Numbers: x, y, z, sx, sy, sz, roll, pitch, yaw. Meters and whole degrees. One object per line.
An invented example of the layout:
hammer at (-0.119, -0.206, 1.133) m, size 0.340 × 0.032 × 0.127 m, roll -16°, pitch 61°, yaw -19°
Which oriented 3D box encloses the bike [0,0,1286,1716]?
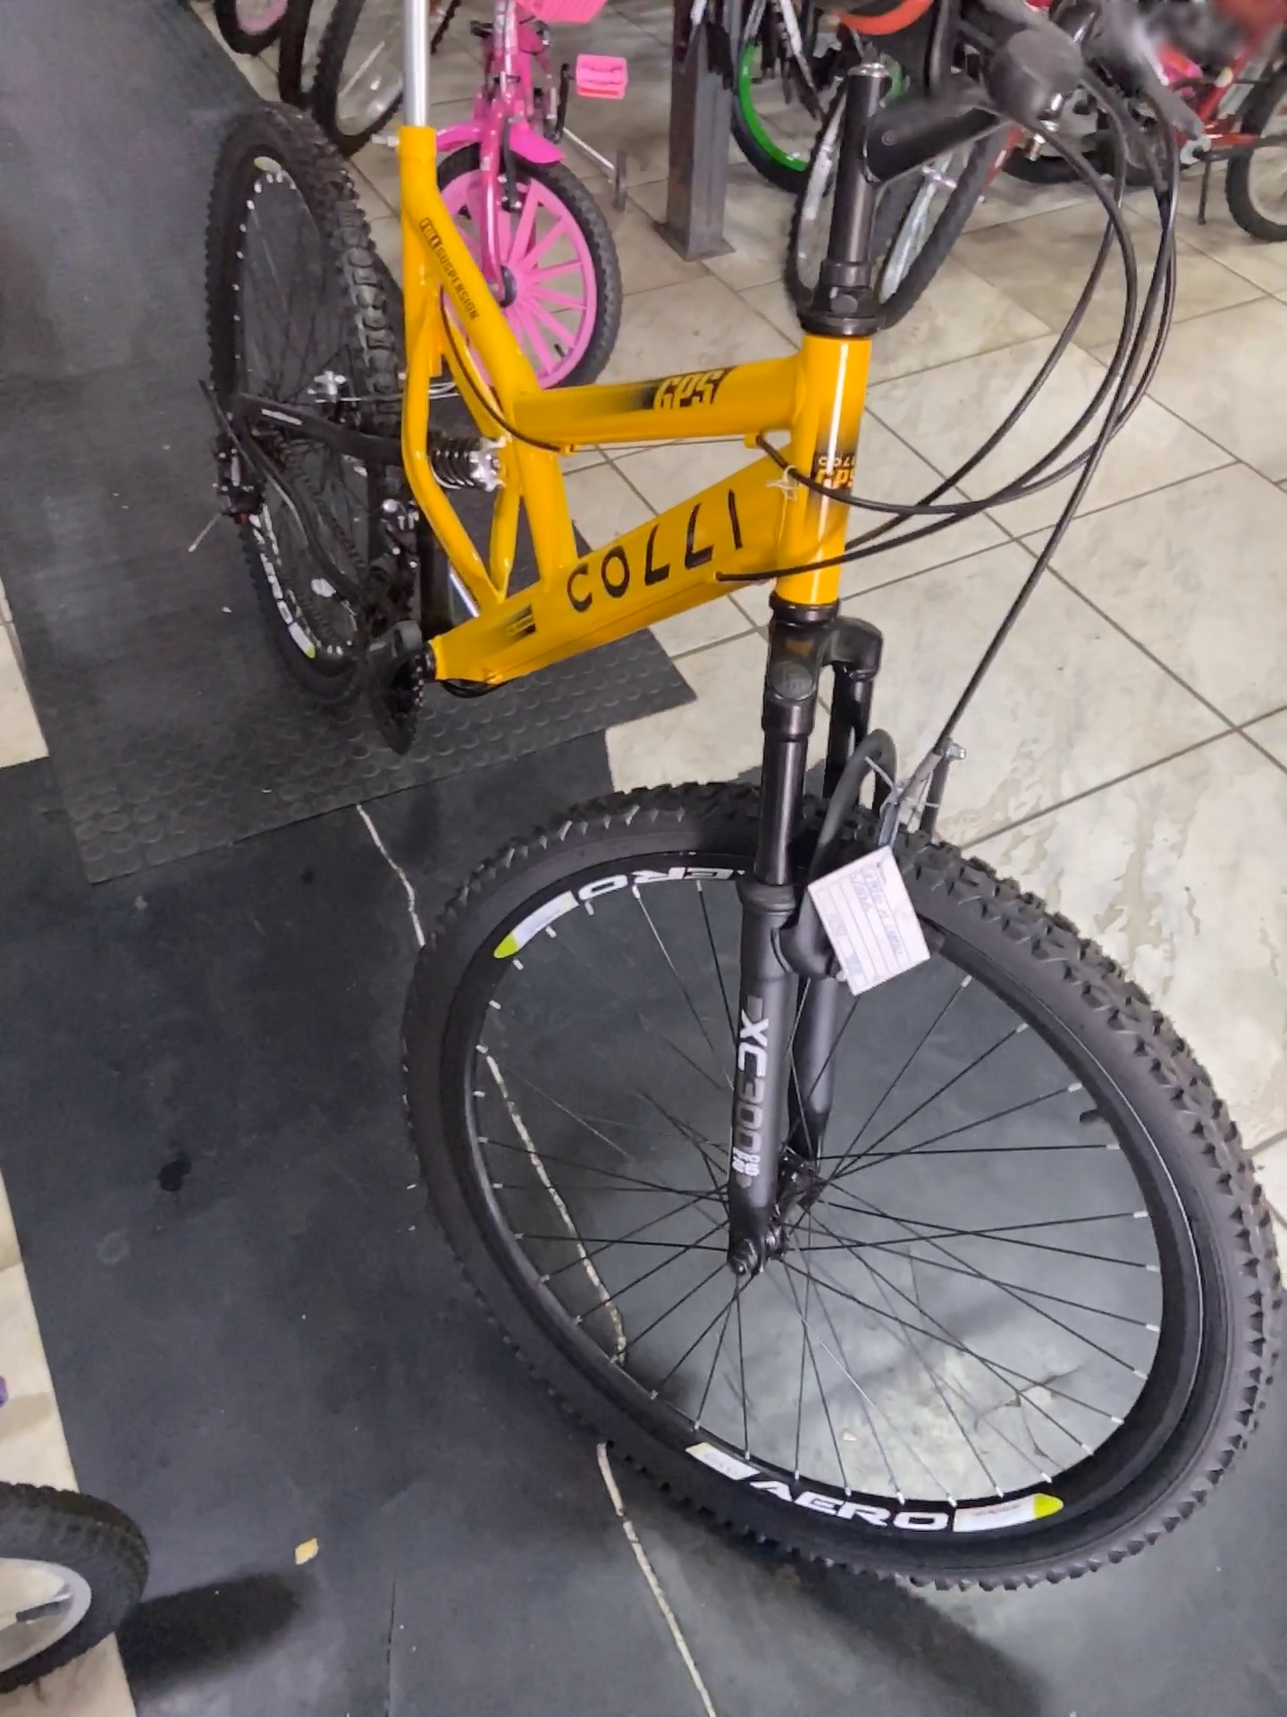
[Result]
bike at (-0.103, -0.307, 0.968) m, size 0.476 × 0.987 × 1.524 m, roll -27°, pitch 53°, yaw -22°
